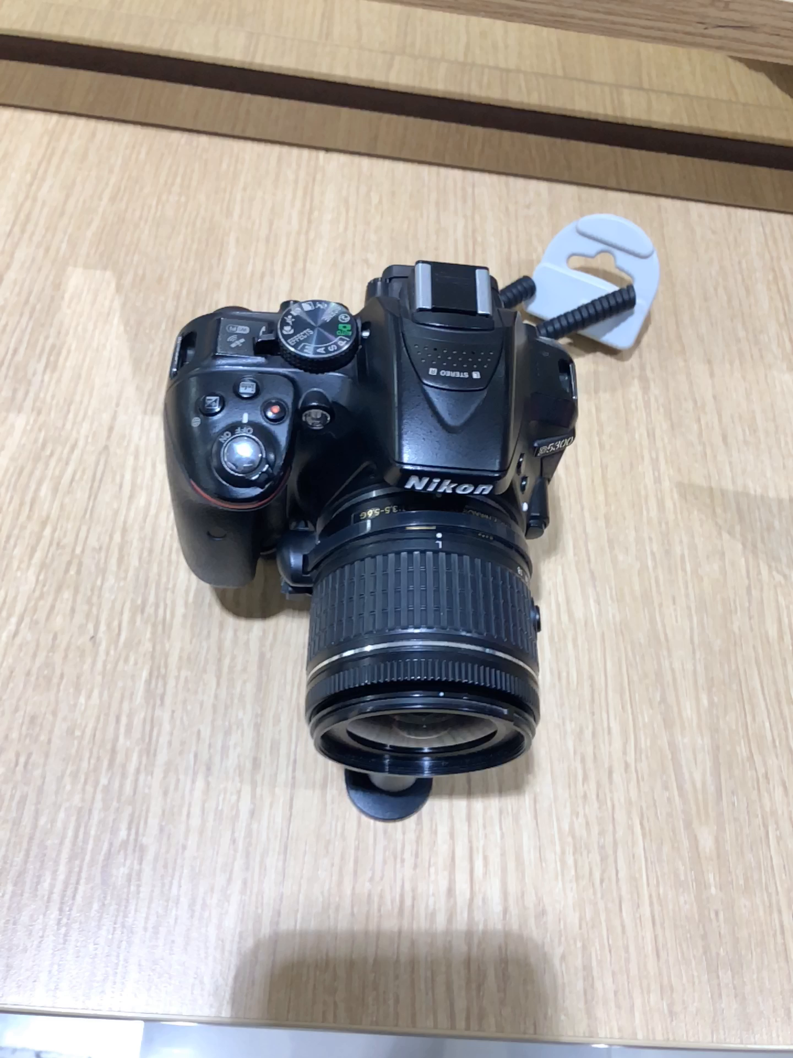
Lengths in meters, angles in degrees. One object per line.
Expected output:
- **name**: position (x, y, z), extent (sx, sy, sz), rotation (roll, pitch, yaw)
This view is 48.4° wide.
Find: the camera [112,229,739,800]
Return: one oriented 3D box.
- **camera**: position (0.002, 0.003, 0.240), extent (0.120, 0.102, 0.110), rotation (3, 58, -6)
